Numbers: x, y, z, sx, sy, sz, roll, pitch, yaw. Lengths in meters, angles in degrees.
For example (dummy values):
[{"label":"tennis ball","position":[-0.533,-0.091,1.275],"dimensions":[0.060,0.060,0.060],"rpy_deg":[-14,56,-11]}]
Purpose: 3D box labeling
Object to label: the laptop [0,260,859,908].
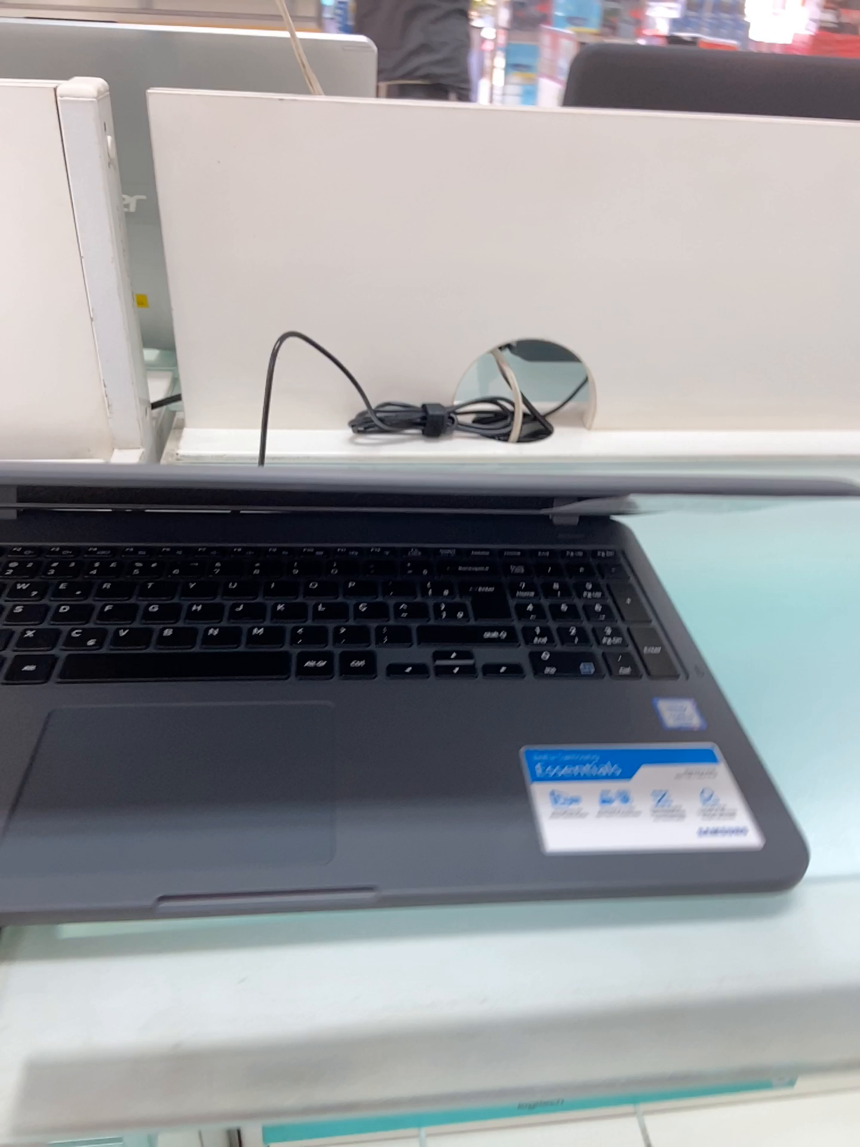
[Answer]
[{"label":"laptop","position":[-0.055,-0.018,0.351],"dimensions":[0.367,0.126,0.238],"rpy_deg":[0,34,-7]}]
